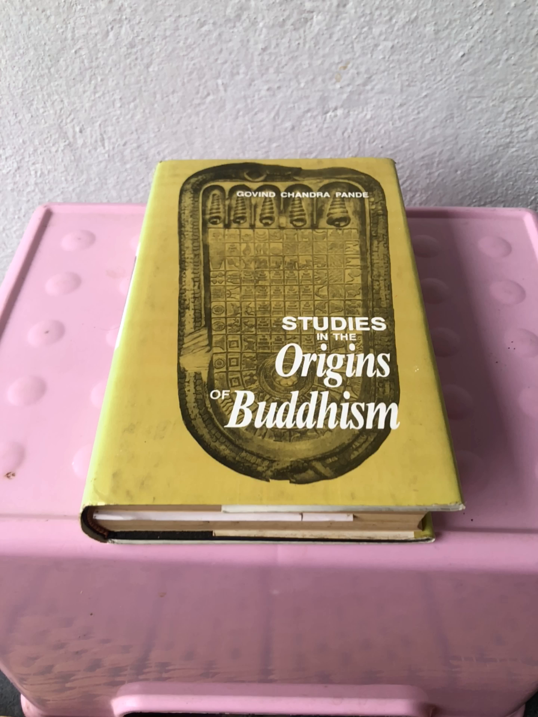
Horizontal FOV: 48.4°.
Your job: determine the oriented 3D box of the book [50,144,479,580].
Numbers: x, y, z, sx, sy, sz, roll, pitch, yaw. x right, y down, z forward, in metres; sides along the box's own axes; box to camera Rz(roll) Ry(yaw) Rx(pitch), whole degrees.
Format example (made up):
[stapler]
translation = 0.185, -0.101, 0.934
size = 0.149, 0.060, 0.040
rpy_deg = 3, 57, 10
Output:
[book]
translation = 0.000, -0.020, 0.299
size = 0.150, 0.040, 0.241
rpy_deg = 1, 52, 0
